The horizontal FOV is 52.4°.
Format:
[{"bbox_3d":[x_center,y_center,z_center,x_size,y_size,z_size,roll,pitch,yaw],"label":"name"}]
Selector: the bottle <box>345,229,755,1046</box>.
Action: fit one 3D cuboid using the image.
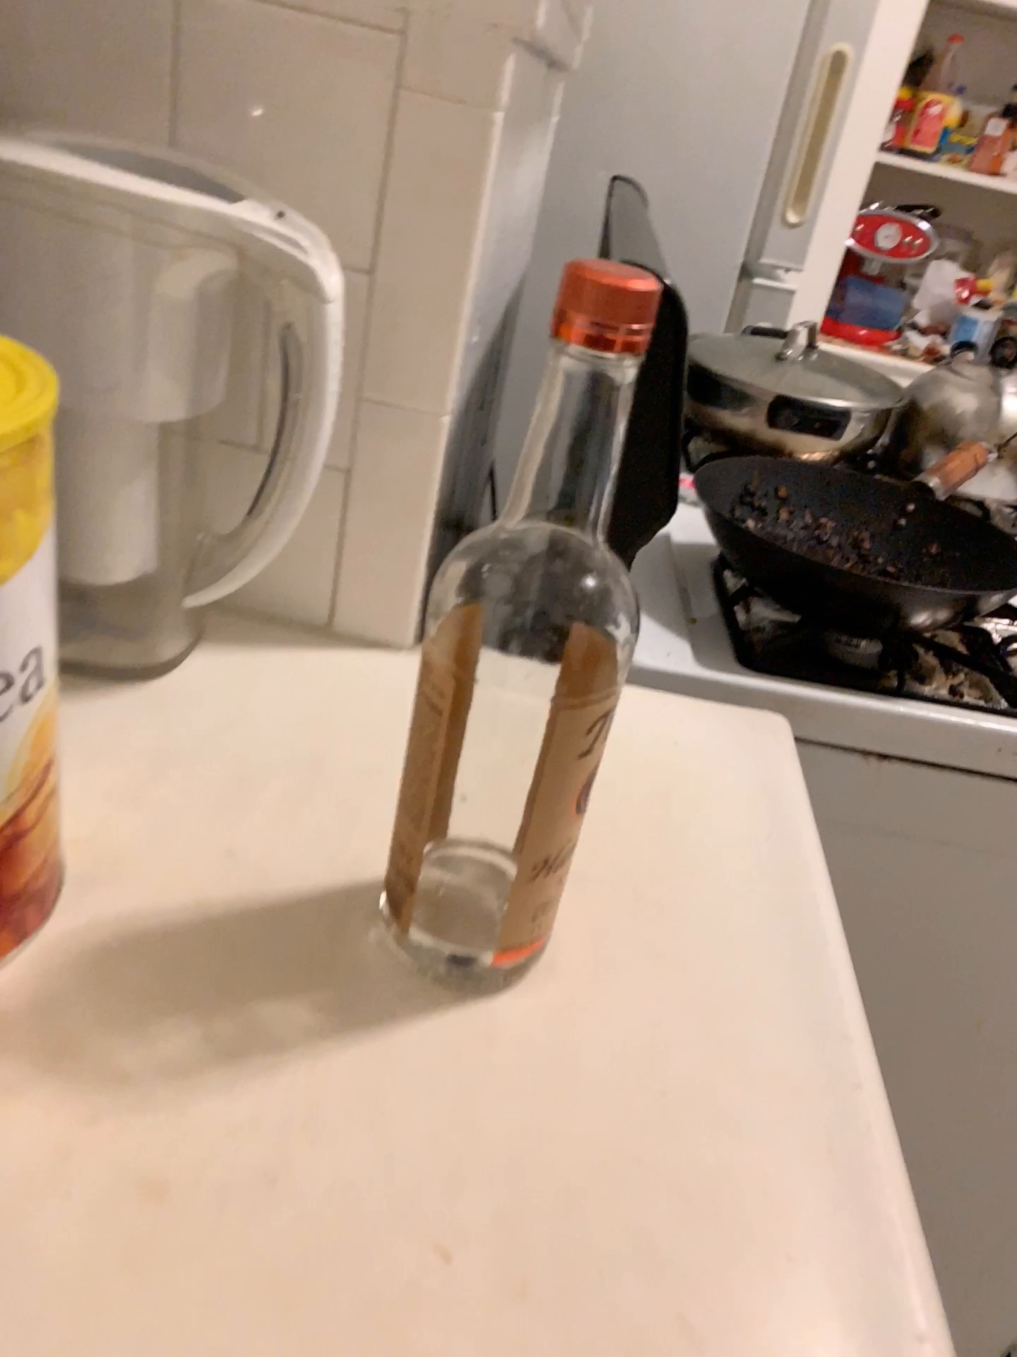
[{"bbox_3d":[0.007,-0.002,0.387,0.080,0.288,0.080,10,30,-6],"label":"bottle"}]
